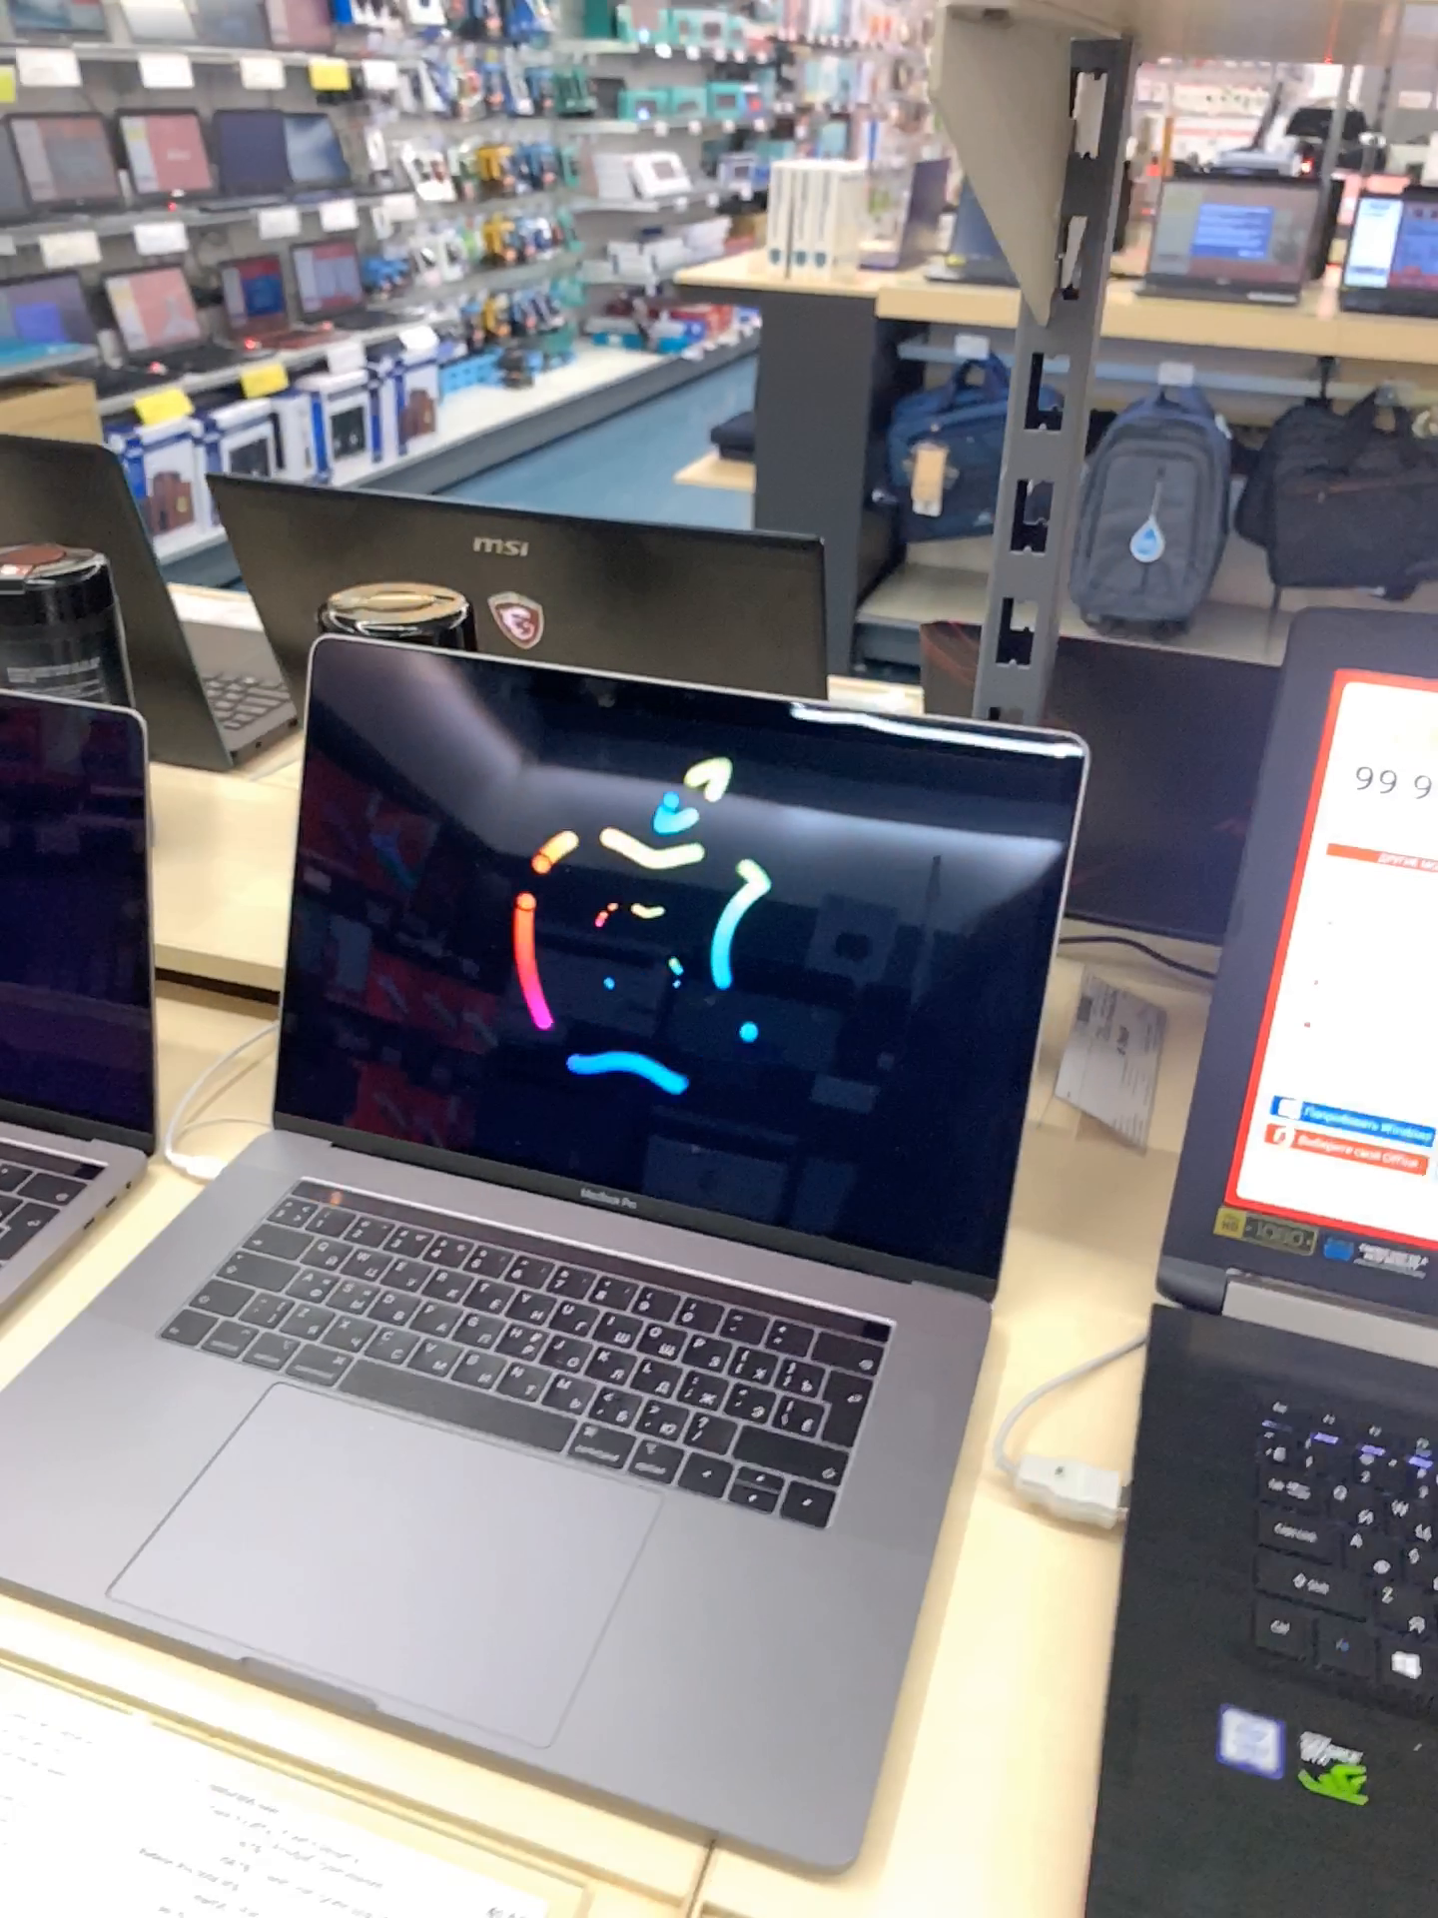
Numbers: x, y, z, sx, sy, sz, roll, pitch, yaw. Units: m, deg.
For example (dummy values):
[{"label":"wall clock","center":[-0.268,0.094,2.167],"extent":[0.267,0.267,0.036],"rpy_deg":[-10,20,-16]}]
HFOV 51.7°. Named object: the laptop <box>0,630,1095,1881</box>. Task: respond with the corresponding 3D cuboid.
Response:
[{"label":"laptop","center":[-0.072,0.054,0.538],"extent":[0.345,0.210,0.326],"rpy_deg":[11,32,15]}]
